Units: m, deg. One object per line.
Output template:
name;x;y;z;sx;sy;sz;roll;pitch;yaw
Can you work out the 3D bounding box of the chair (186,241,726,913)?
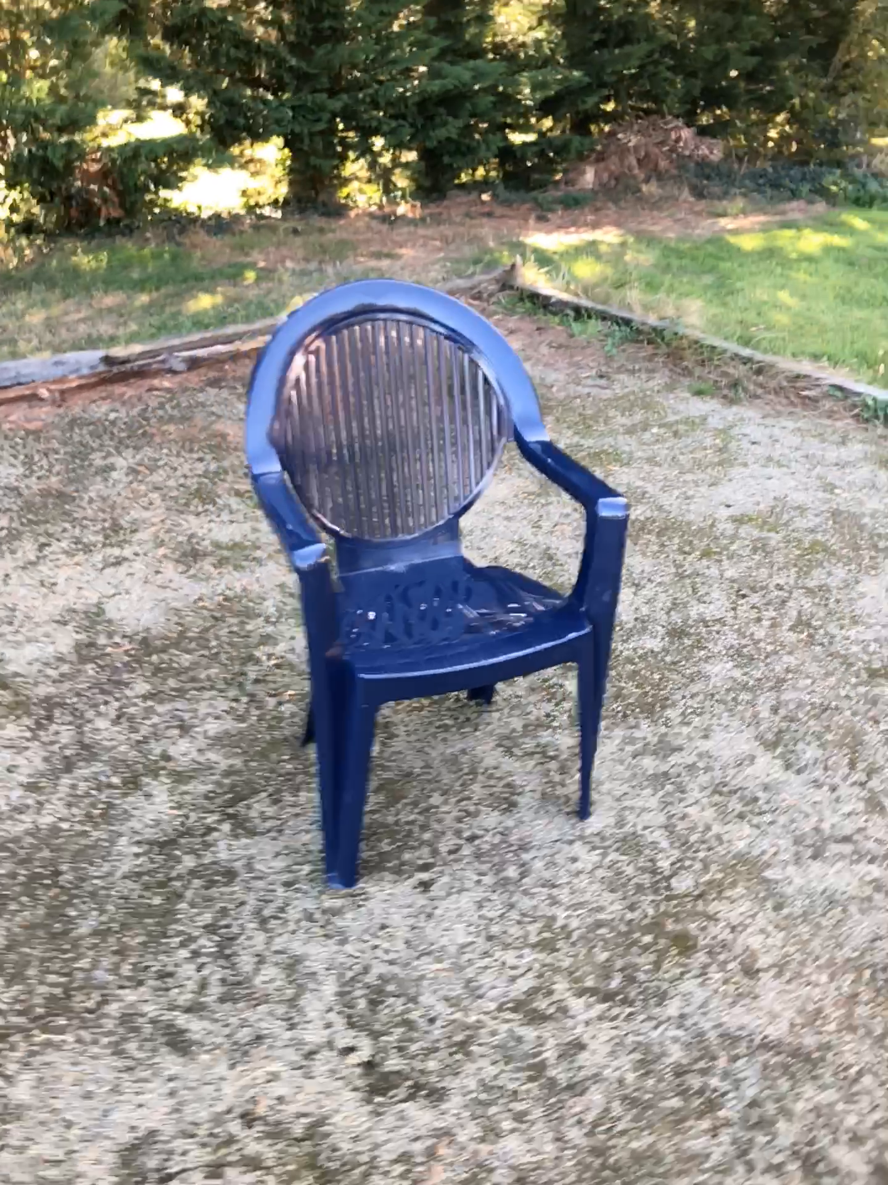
chair;-0.032;-0.066;1.610;0.592;0.855;0.572;-11;34;-22
